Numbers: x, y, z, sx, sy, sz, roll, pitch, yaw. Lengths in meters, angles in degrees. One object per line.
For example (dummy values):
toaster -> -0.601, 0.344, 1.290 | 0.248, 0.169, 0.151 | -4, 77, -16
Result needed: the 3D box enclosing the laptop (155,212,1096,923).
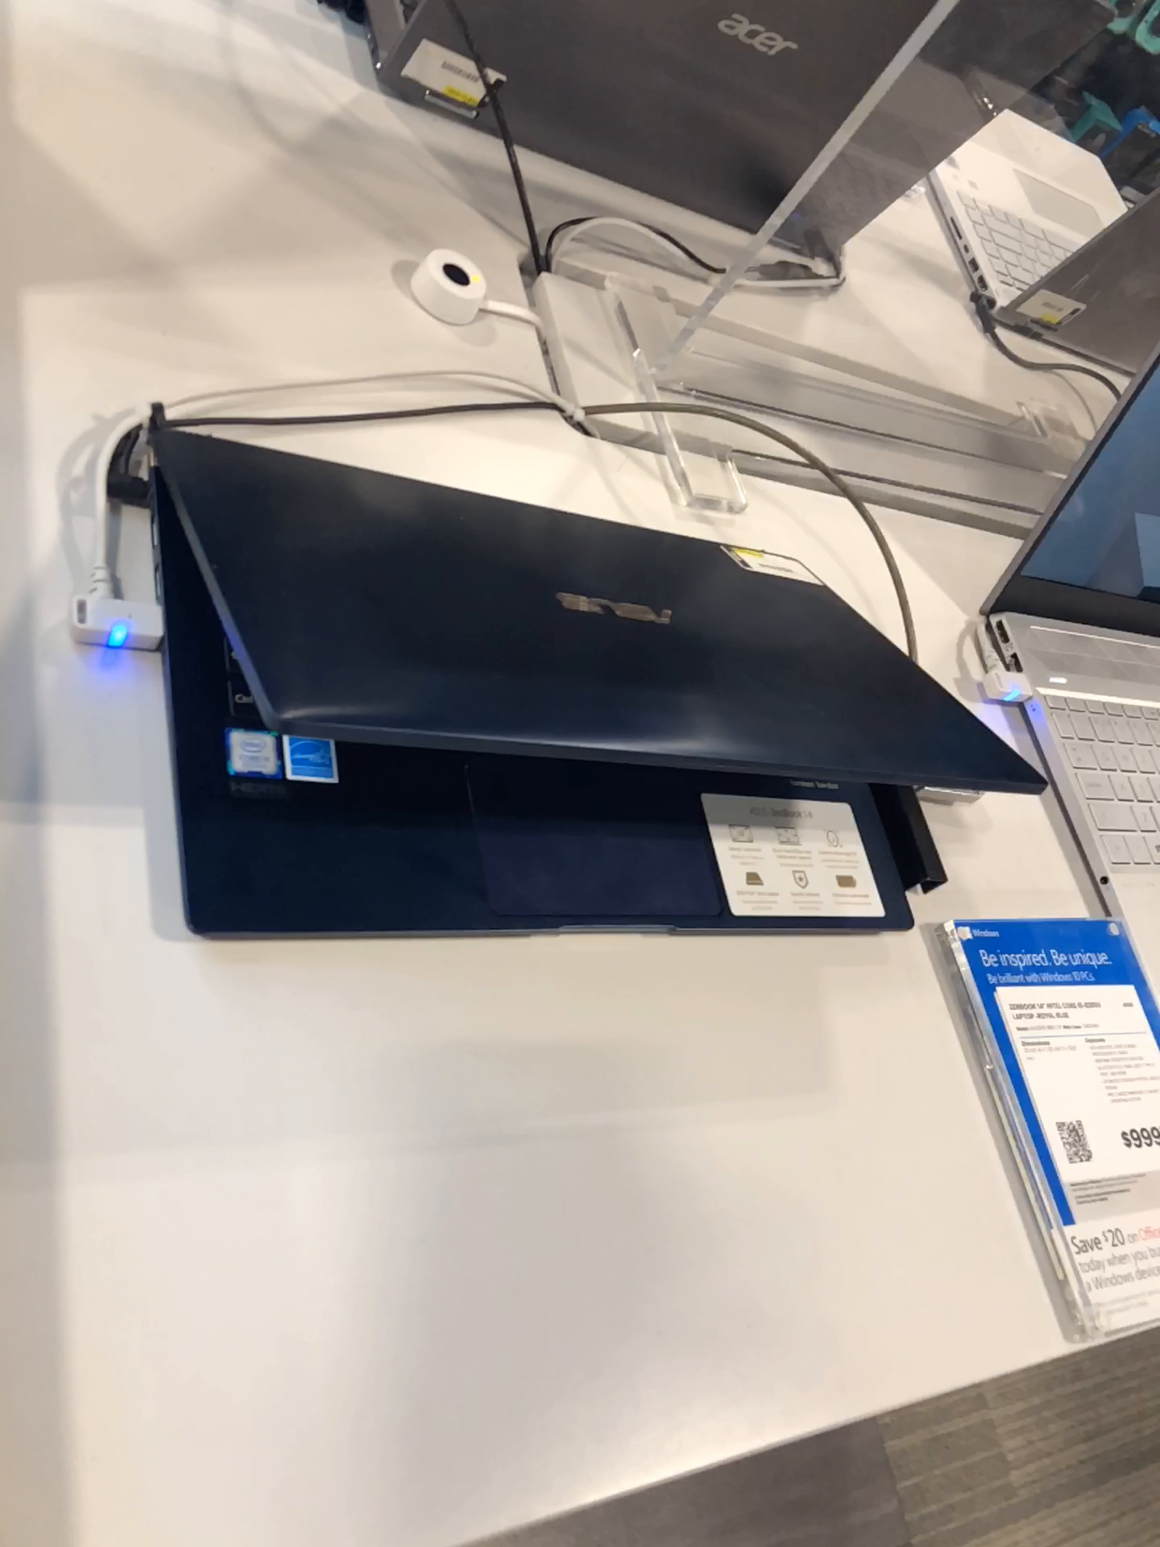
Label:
laptop -> 0.019, -0.056, 0.473 | 0.311, 0.095, 0.203 | 5, 58, -34
